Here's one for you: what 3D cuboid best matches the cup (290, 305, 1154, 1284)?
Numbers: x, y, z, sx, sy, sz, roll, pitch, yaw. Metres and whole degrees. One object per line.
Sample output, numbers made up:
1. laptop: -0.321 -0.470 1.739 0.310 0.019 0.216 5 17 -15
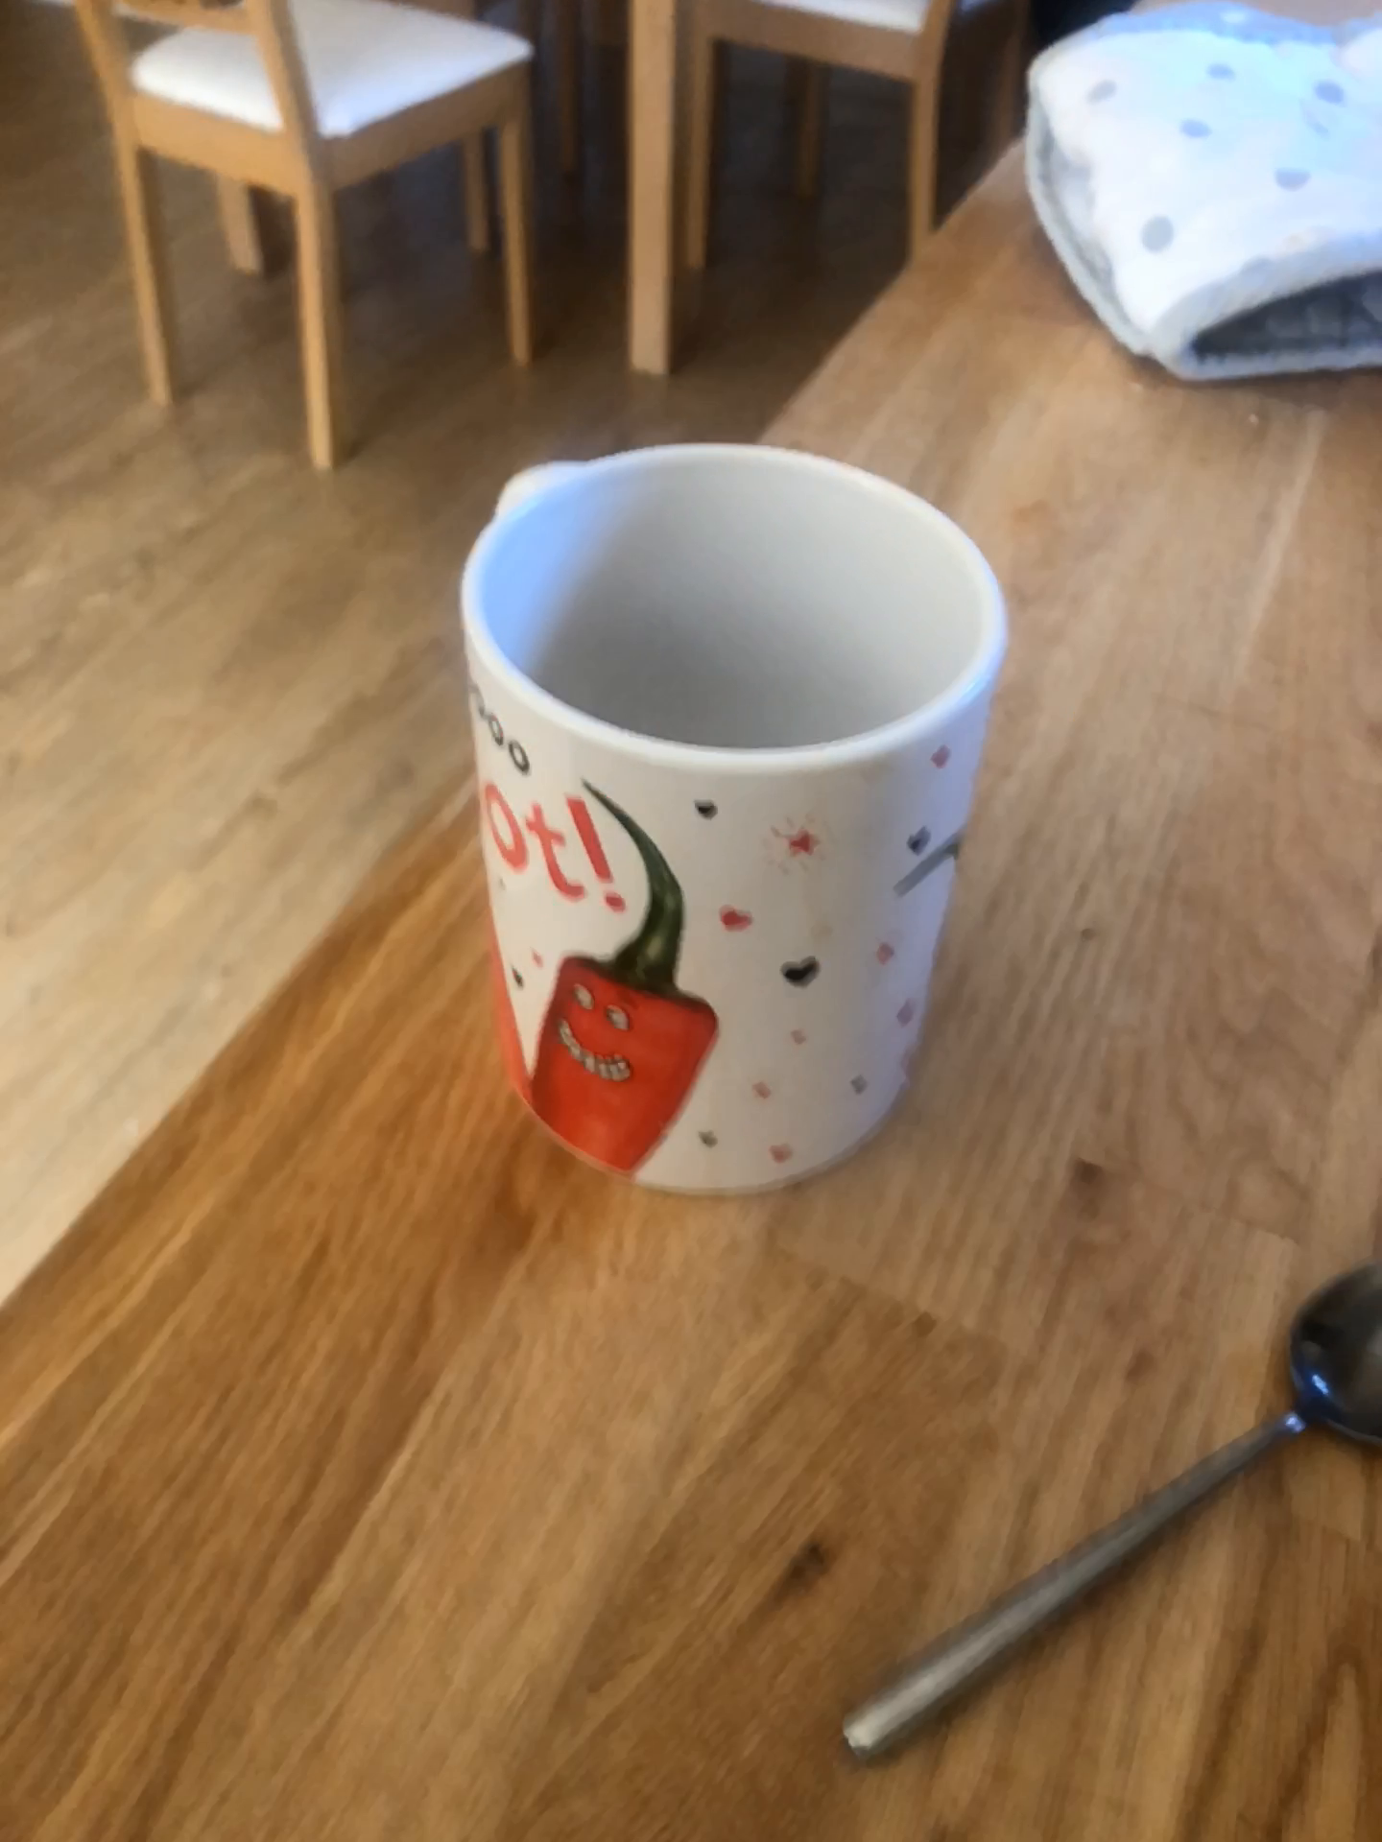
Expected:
1. cup: -0.004 -0.031 0.301 0.097 0.109 0.136 -18 49 -19
